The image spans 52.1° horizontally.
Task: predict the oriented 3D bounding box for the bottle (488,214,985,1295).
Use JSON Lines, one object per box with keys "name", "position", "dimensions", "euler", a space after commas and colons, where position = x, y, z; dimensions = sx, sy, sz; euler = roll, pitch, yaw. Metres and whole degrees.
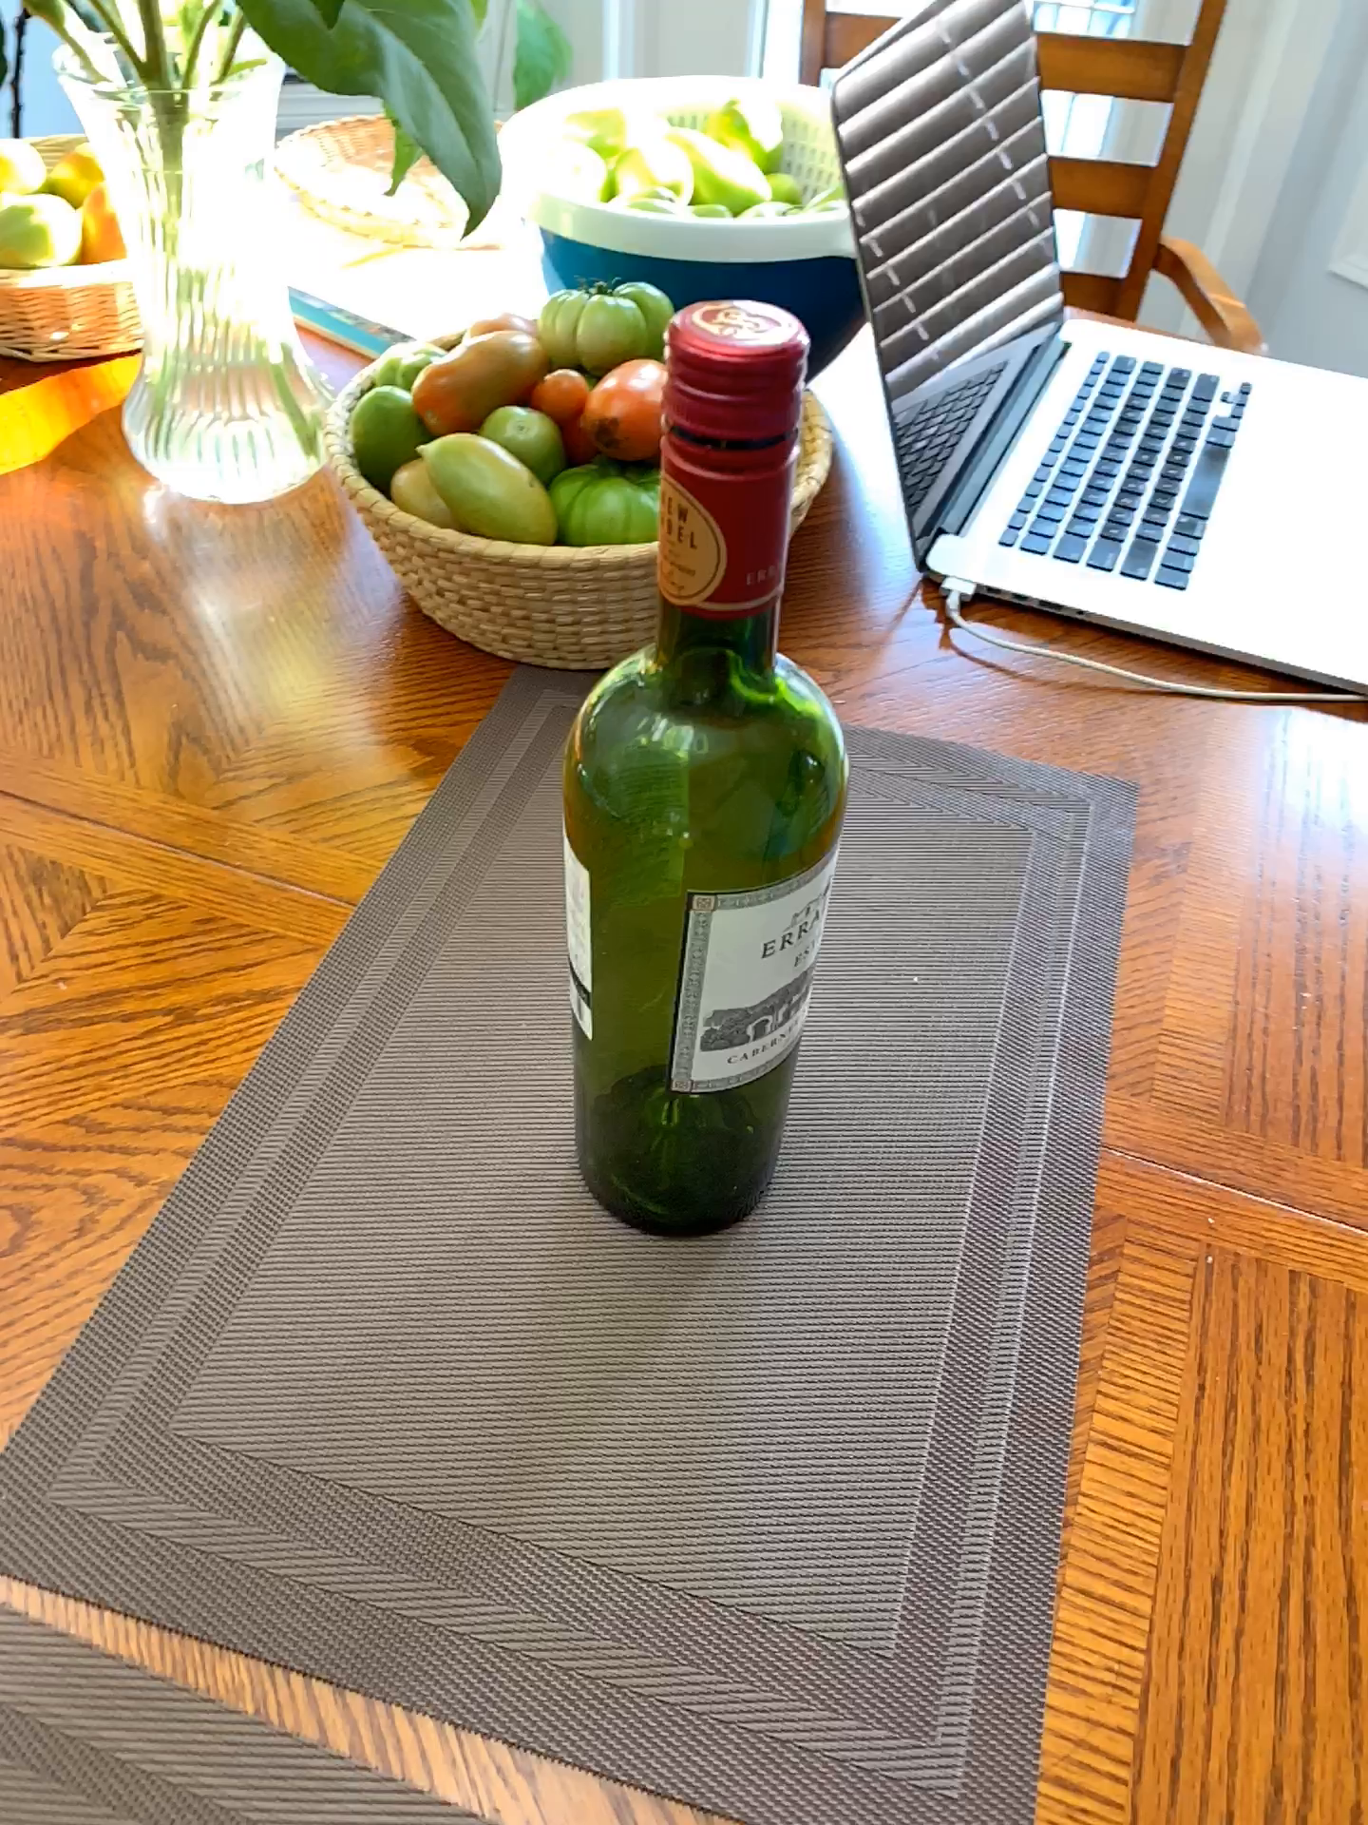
{"name": "bottle", "position": [0.007, -0.019, 0.408], "dimensions": [0.080, 0.307, 0.091], "euler": [18, 47, 13]}
